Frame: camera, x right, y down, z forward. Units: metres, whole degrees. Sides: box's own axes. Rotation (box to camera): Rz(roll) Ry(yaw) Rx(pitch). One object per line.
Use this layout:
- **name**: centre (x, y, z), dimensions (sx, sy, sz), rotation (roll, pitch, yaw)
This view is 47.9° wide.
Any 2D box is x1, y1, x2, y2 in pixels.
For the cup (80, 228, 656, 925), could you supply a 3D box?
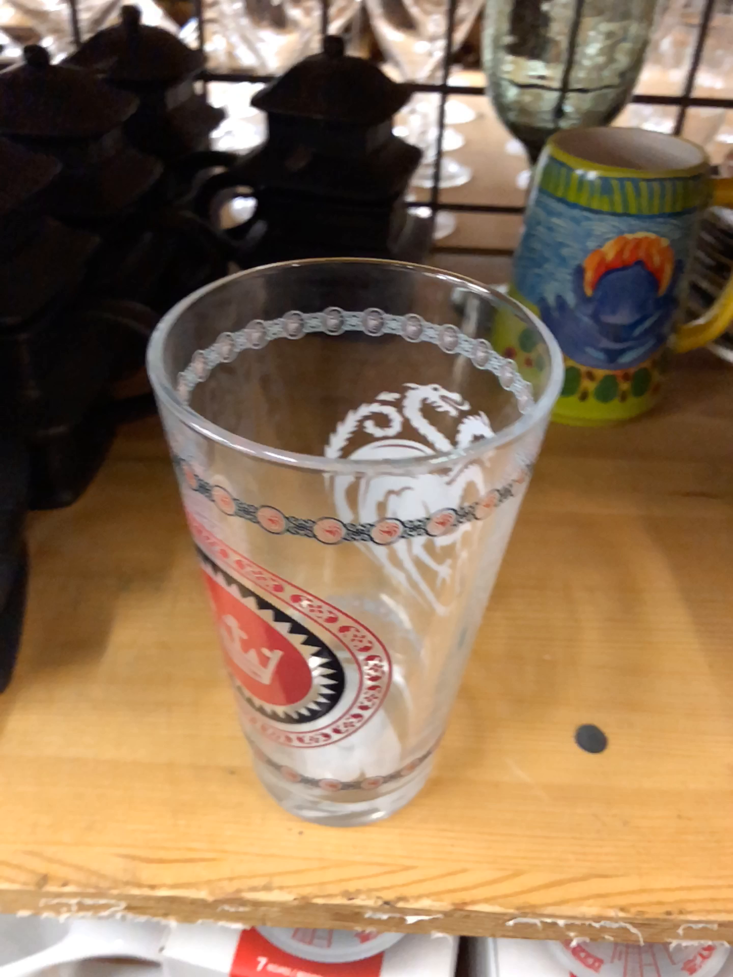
- **cup**: centre (-0.002, 0.020, 0.212), dimensions (0.084, 0.132, 0.085), rotation (2, 38, -1)
